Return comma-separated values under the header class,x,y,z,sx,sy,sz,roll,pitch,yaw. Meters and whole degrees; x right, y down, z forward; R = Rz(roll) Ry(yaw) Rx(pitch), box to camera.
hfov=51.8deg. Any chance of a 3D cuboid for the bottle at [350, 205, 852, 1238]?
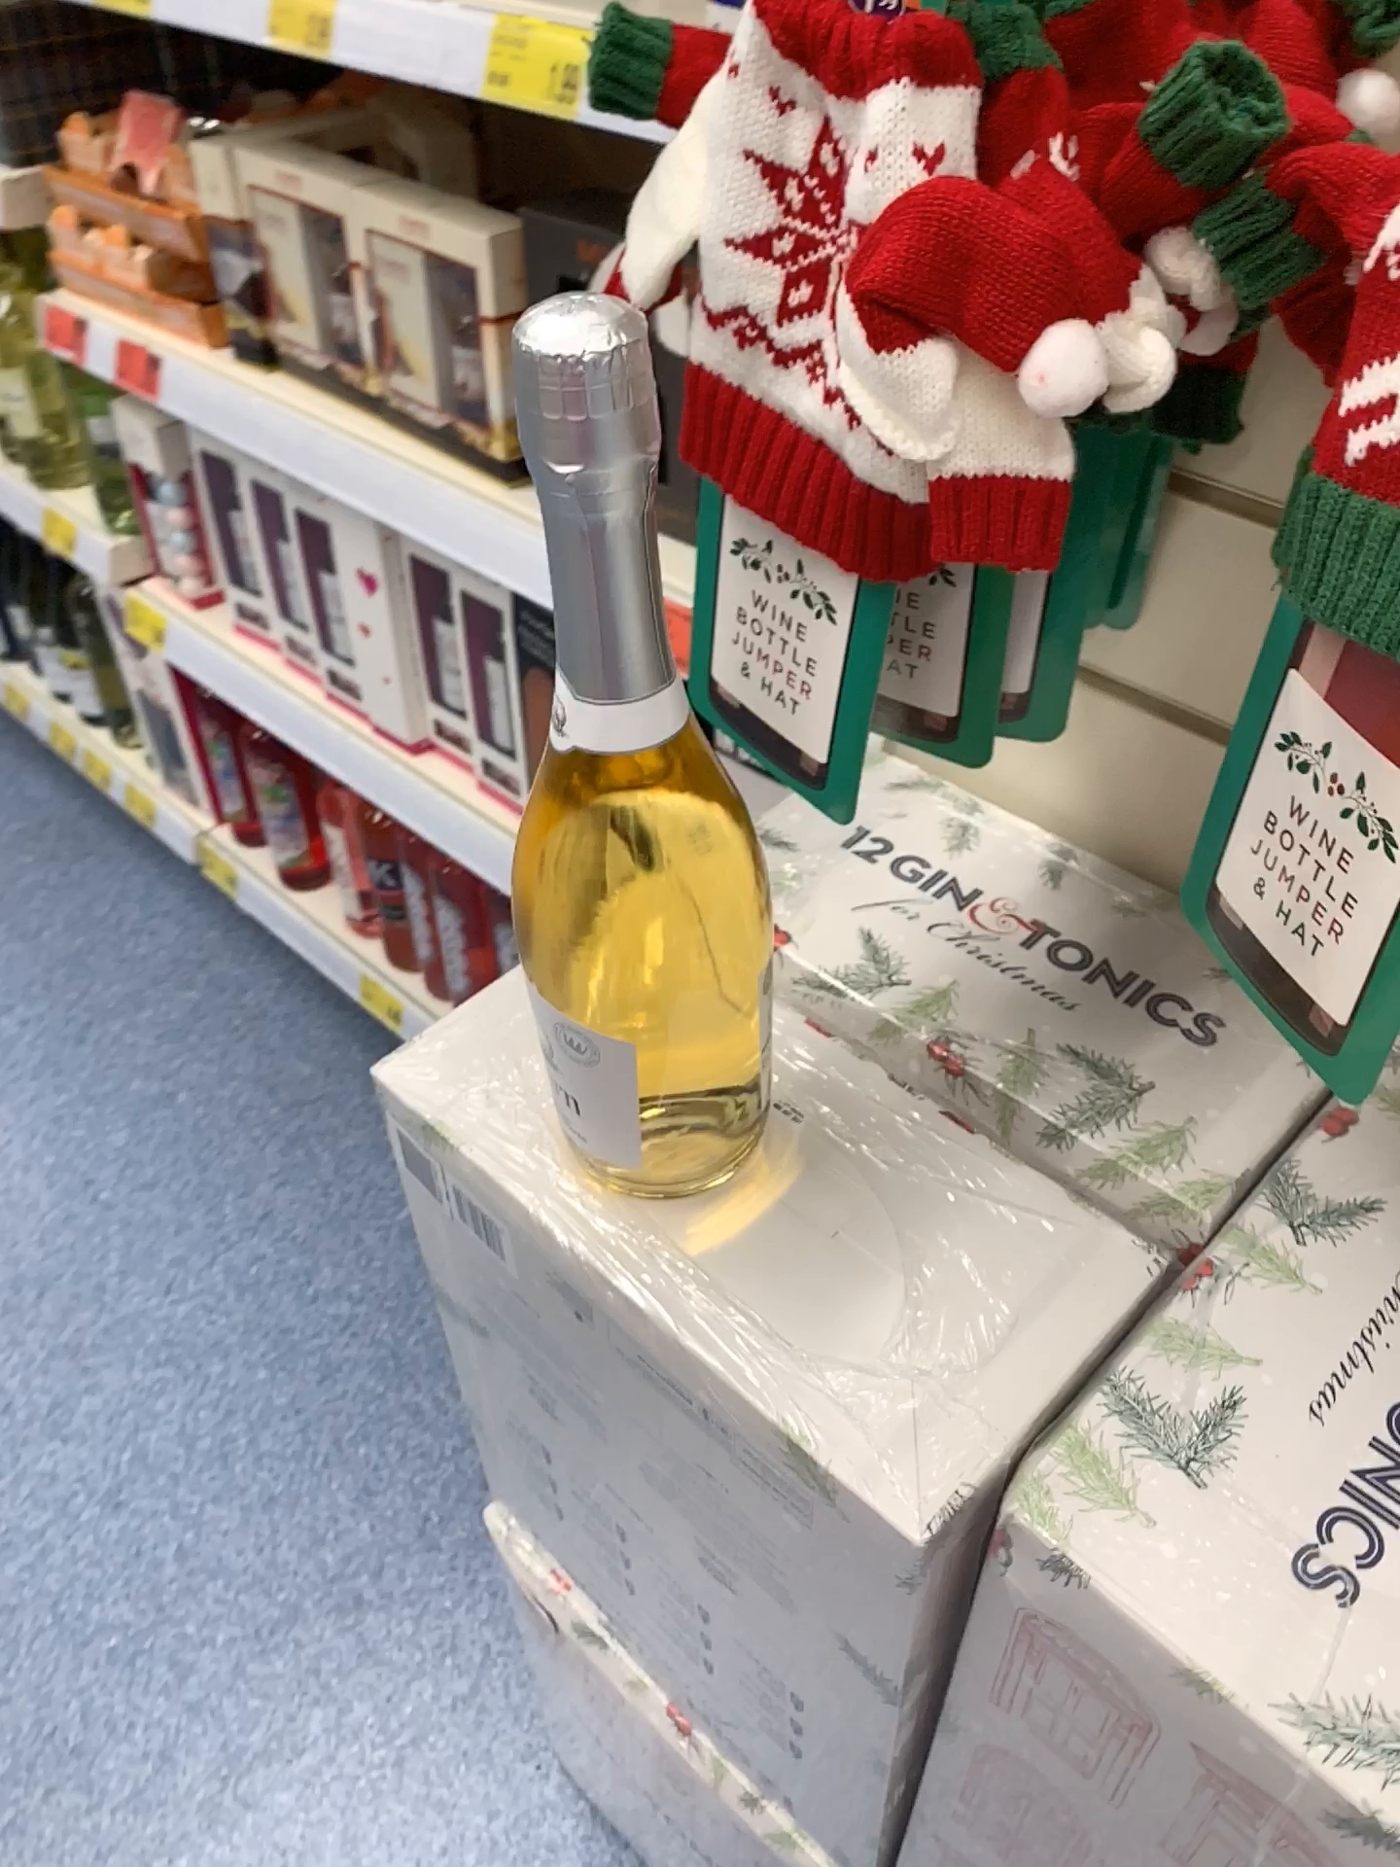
class,x,y,z,sx,sy,sz,roll,pitch,yaw
bottle,-0.026,-0.048,0.451,0.095,0.299,0.095,0,41,0
